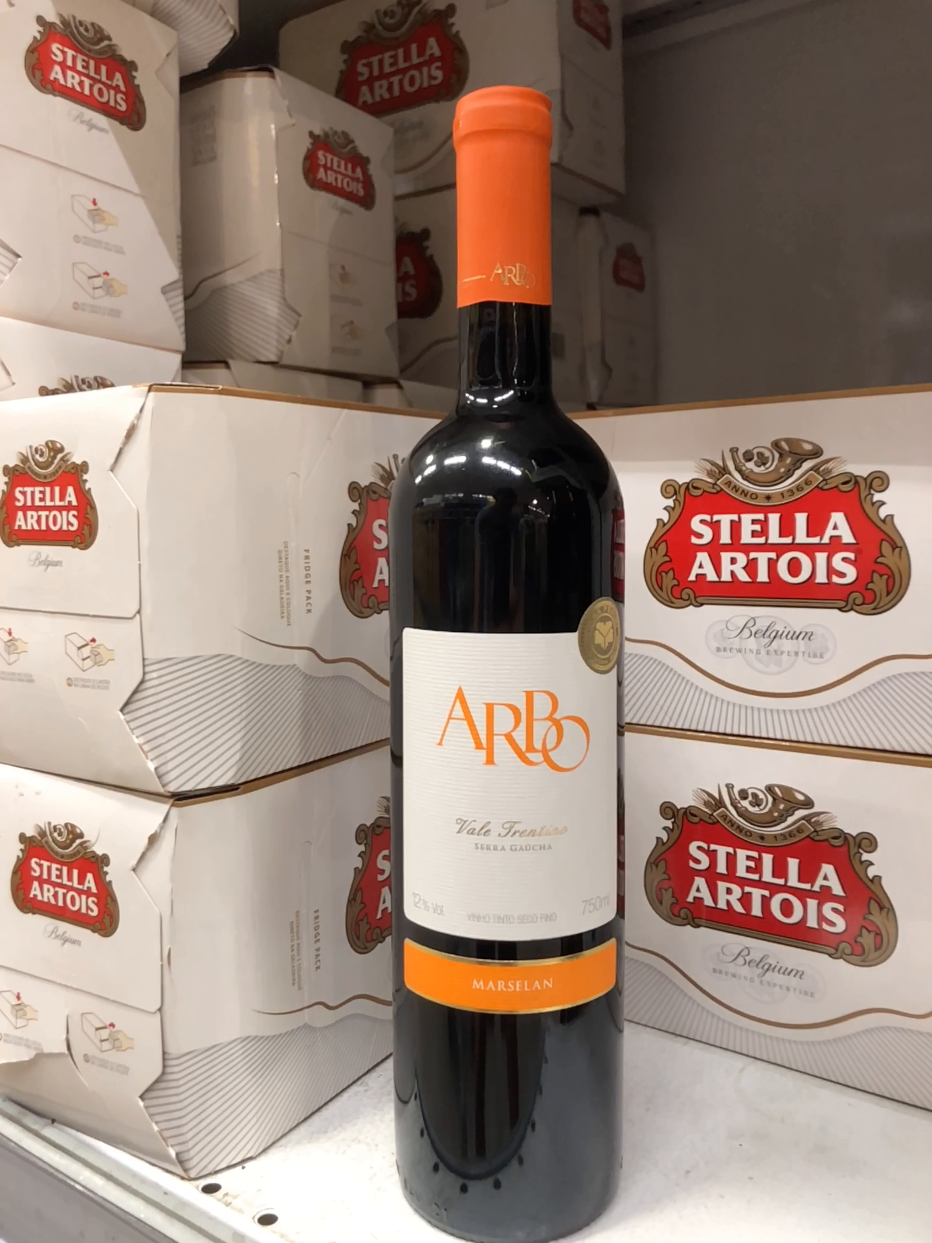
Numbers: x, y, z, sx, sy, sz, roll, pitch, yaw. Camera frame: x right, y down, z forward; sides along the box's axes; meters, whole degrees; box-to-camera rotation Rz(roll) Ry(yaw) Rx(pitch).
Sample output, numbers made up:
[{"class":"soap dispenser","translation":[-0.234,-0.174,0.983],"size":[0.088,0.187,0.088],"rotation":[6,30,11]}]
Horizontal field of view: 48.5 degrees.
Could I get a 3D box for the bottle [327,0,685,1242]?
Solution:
[{"class":"bottle","translation":[0.012,0.009,0.286],"size":[0.080,0.309,0.070],"rotation":[-2,7,-2]}]
